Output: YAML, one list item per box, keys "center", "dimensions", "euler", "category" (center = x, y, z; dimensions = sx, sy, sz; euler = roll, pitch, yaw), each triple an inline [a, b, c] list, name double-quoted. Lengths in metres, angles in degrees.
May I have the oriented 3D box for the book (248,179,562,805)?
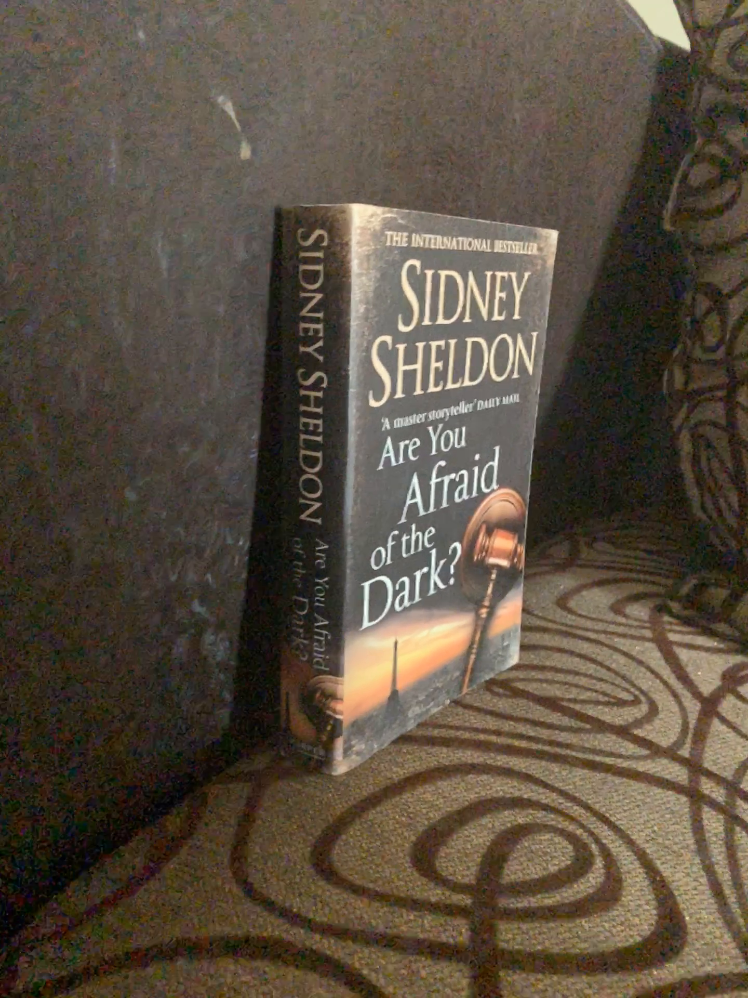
- center: [0.015, -0.007, 0.276]
  dimensions: [0.040, 0.179, 0.120]
  euler: [12, 15, 35]
  category: "book"
